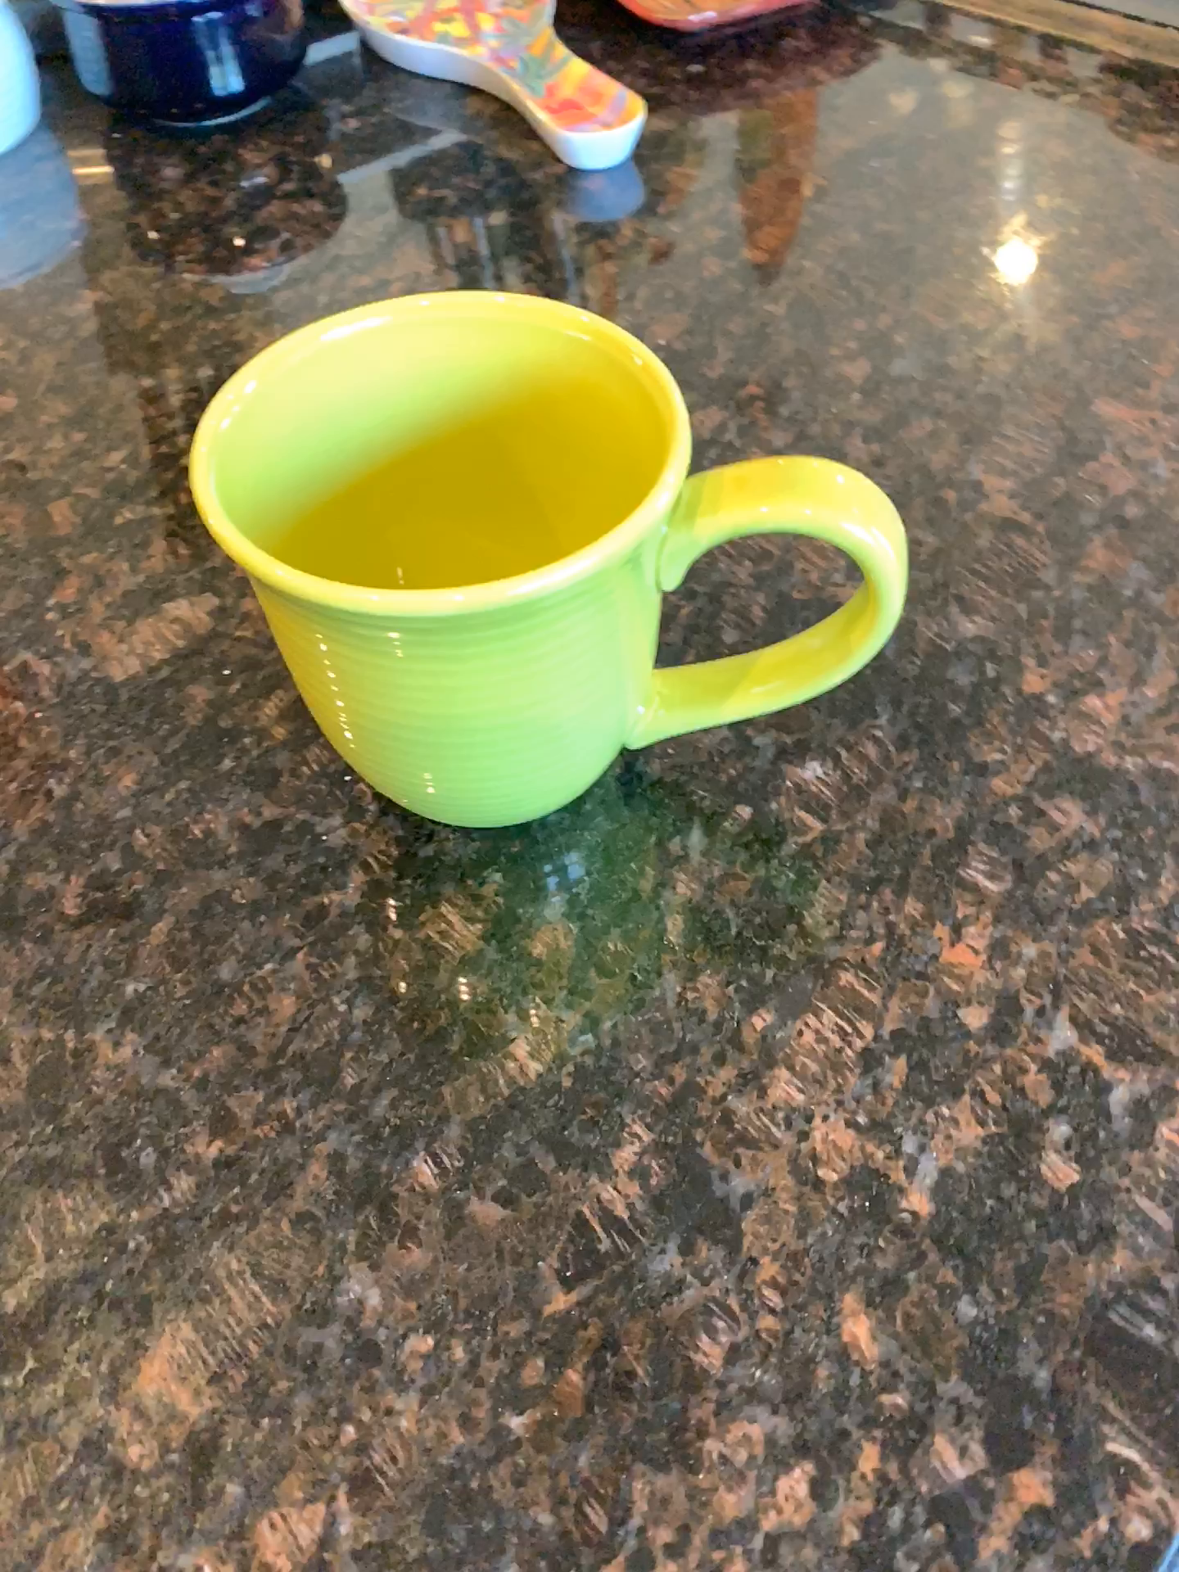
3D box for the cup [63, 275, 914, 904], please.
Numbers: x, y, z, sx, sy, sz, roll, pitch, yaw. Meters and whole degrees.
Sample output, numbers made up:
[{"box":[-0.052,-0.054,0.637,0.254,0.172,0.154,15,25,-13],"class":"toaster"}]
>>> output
[{"box":[-0.013,-0.047,0.276,0.150,0.080,0.110,4,53,6],"class":"cup"}]
